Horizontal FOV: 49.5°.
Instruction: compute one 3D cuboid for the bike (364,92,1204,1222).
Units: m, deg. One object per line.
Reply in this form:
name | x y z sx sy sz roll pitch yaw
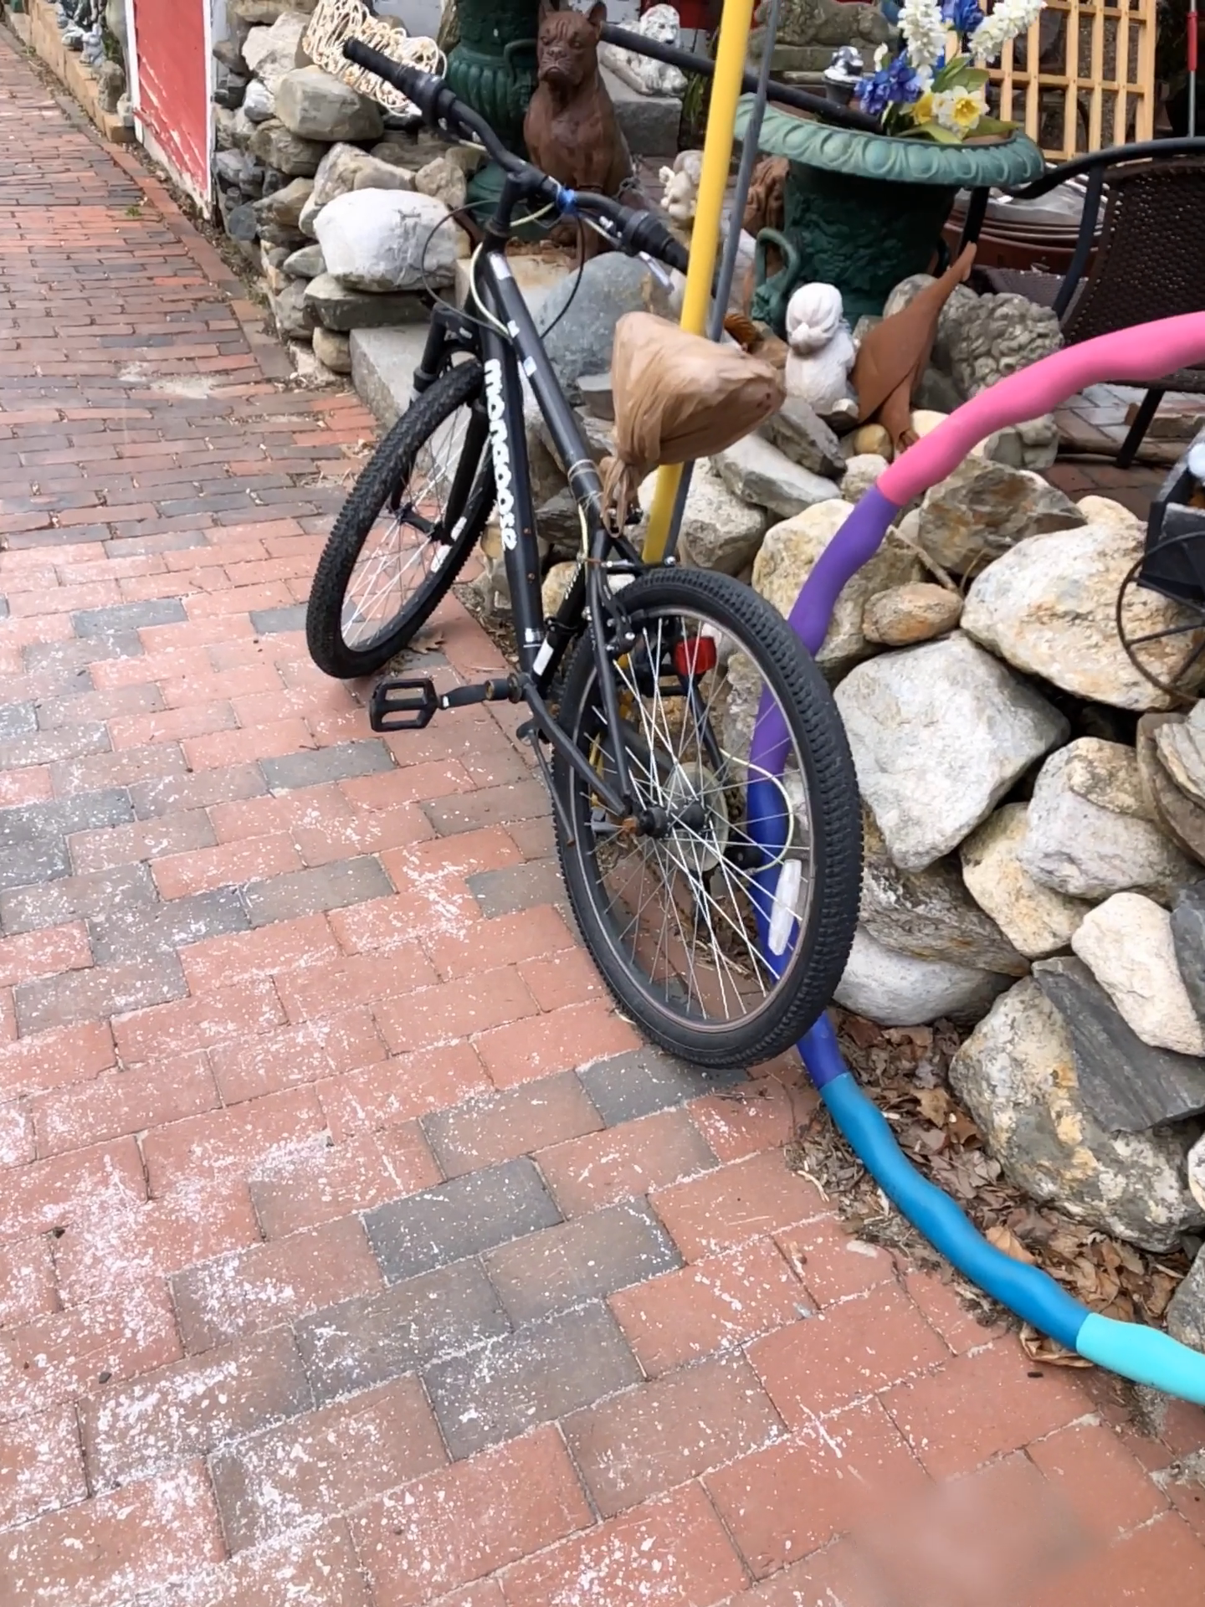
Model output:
bike | 0.091 -0.358 1.838 0.633 0.873 1.416 -7 41 -19
